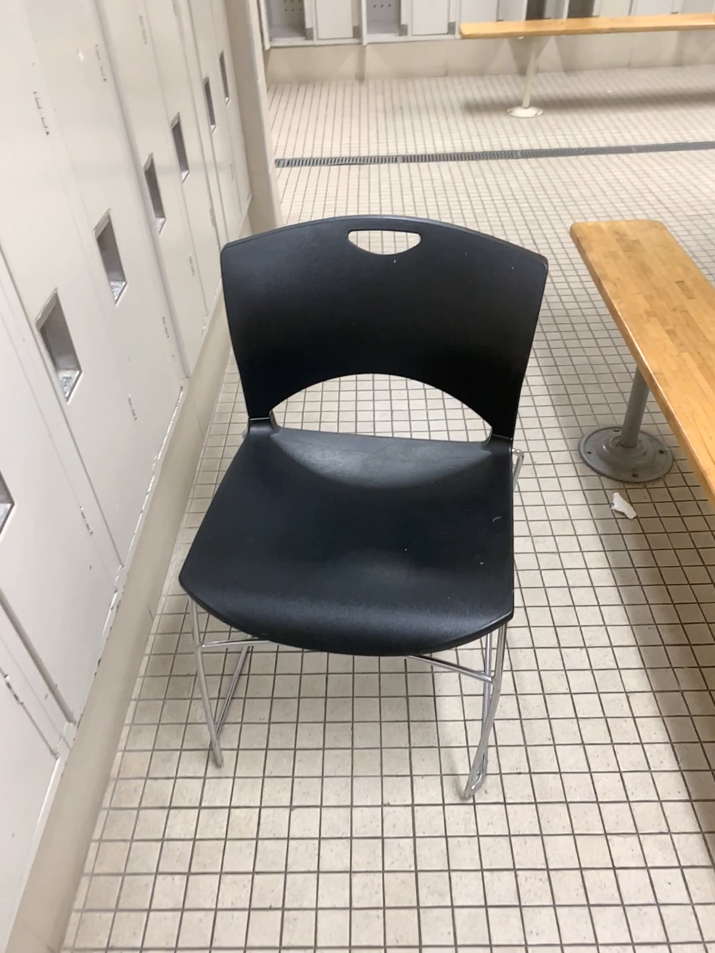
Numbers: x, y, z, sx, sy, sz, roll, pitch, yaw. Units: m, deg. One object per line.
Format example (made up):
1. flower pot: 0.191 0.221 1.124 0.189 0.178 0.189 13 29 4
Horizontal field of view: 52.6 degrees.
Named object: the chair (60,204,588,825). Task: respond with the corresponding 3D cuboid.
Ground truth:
1. chair: 0.021 0.027 1.069 0.475 0.631 0.615 4 40 9
